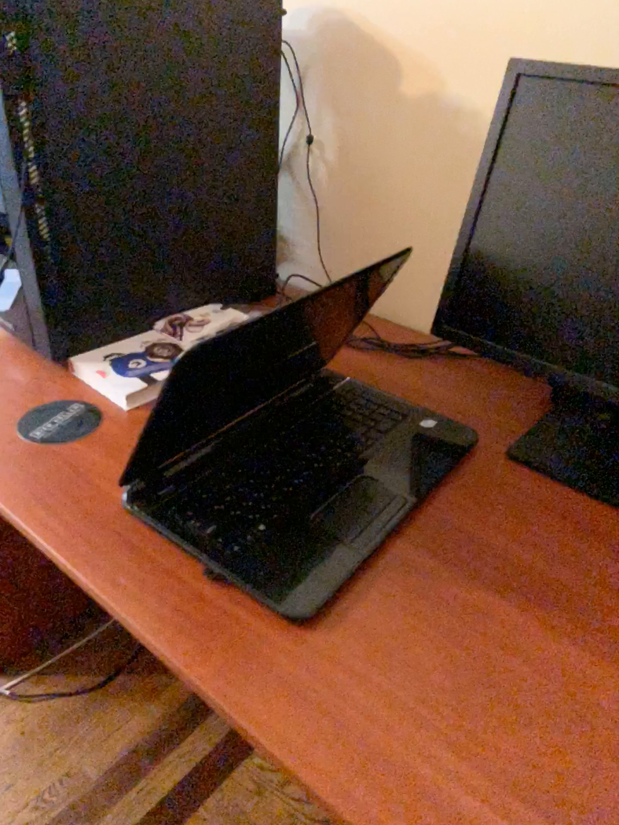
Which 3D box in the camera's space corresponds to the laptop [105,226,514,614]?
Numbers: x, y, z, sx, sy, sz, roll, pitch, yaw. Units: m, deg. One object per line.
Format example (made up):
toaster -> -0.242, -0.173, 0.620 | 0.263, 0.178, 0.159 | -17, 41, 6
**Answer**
laptop -> 0.016, -0.030, 0.637 | 0.222, 0.198, 0.350 | 25, 39, 29
